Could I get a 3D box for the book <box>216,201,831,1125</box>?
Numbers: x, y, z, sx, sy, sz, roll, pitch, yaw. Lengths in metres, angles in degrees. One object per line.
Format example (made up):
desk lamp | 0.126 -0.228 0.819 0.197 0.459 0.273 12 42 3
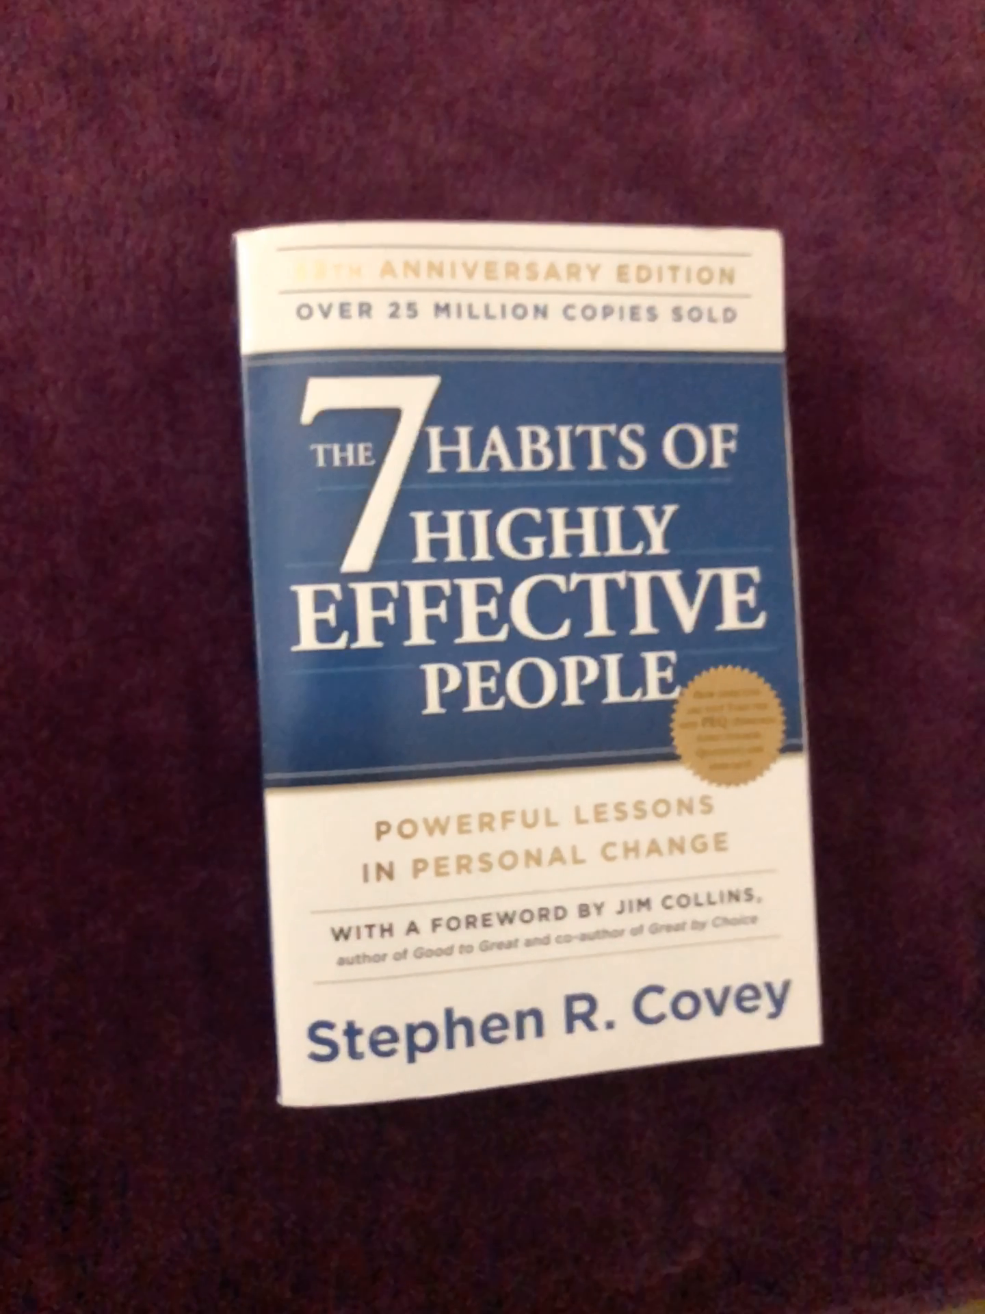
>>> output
book | 0.010 -0.001 0.288 0.147 0.029 0.217 -3 91 -11
